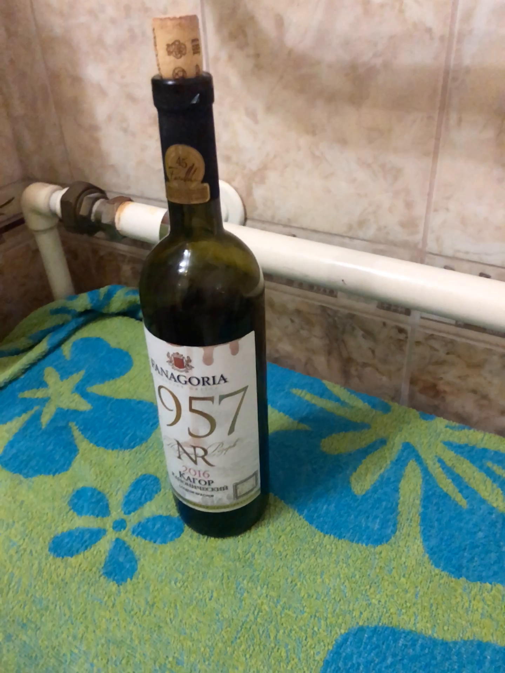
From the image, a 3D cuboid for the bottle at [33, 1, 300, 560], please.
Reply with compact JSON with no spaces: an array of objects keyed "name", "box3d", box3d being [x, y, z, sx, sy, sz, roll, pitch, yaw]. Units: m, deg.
[{"name":"bottle","box3d":[-0.029,-0.011,0.334,0.080,0.318,0.080,-3,34,2]}]
